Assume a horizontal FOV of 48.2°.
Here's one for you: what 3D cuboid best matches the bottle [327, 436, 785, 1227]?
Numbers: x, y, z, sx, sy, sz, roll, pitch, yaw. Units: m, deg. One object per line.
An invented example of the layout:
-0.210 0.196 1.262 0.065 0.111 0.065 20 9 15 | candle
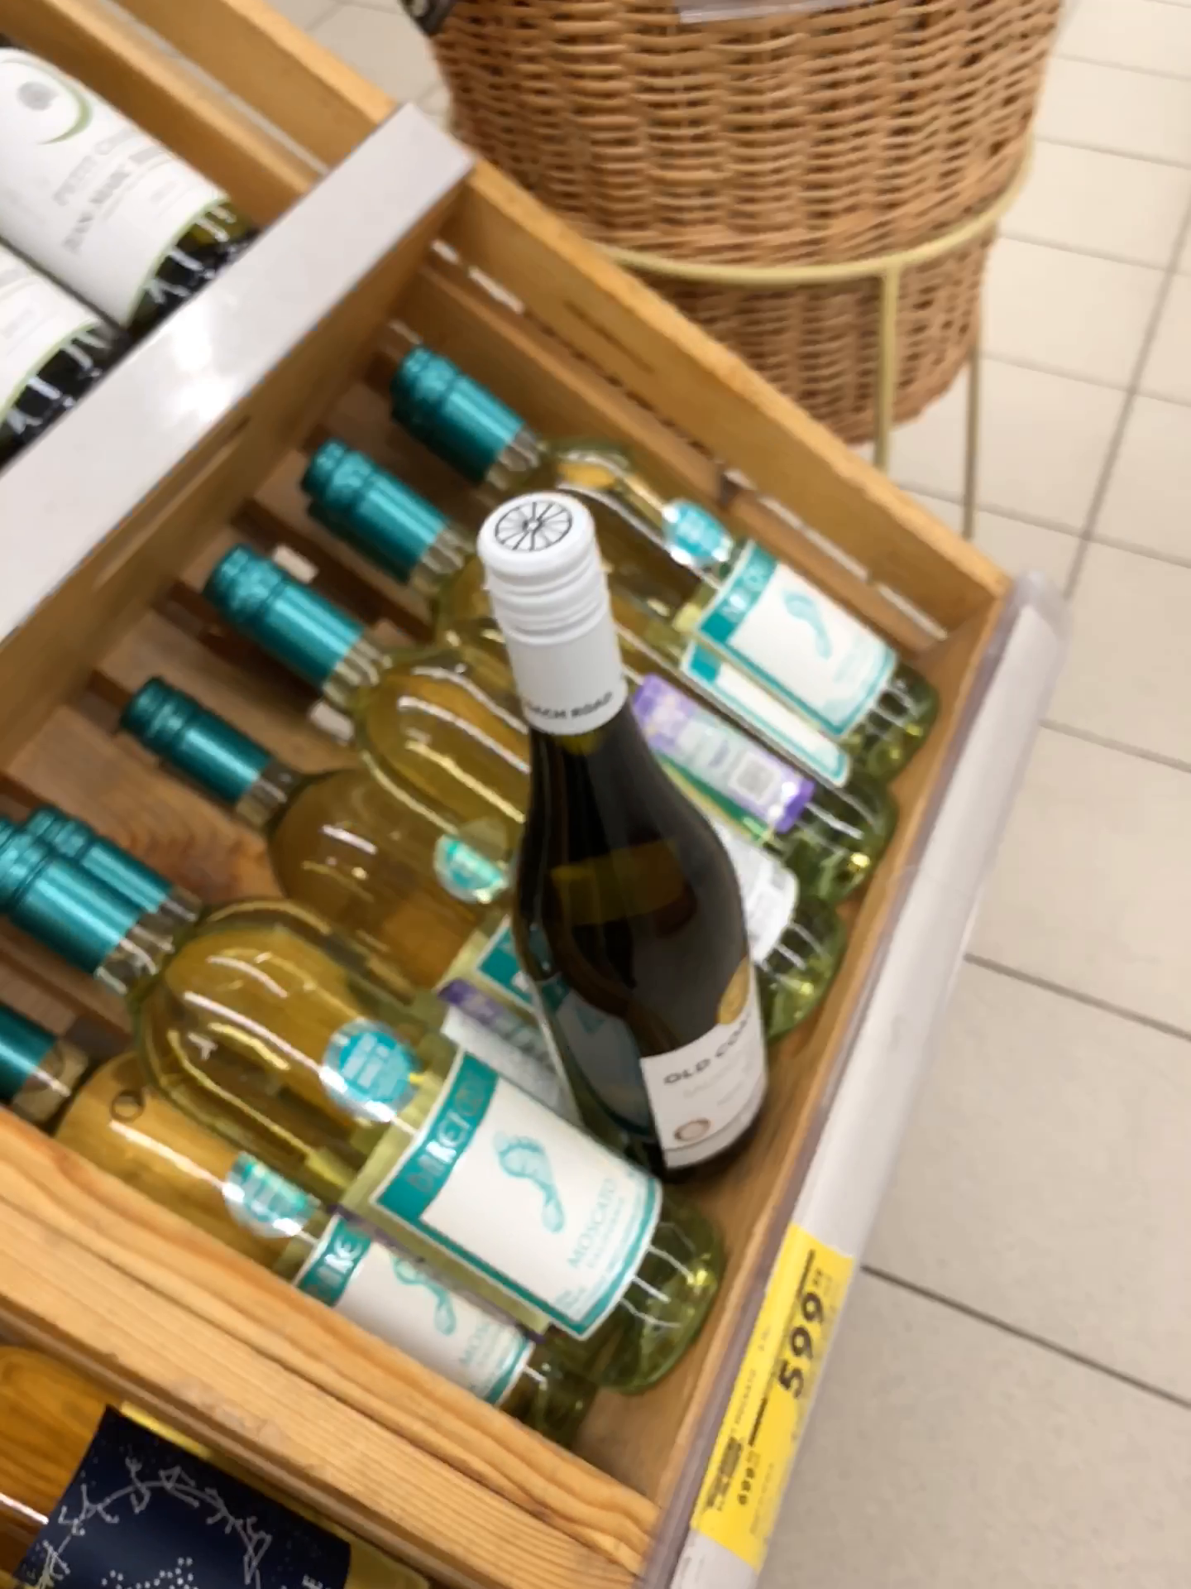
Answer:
0.007 0.034 0.439 0.088 0.291 0.078 15 54 20 | bottle
